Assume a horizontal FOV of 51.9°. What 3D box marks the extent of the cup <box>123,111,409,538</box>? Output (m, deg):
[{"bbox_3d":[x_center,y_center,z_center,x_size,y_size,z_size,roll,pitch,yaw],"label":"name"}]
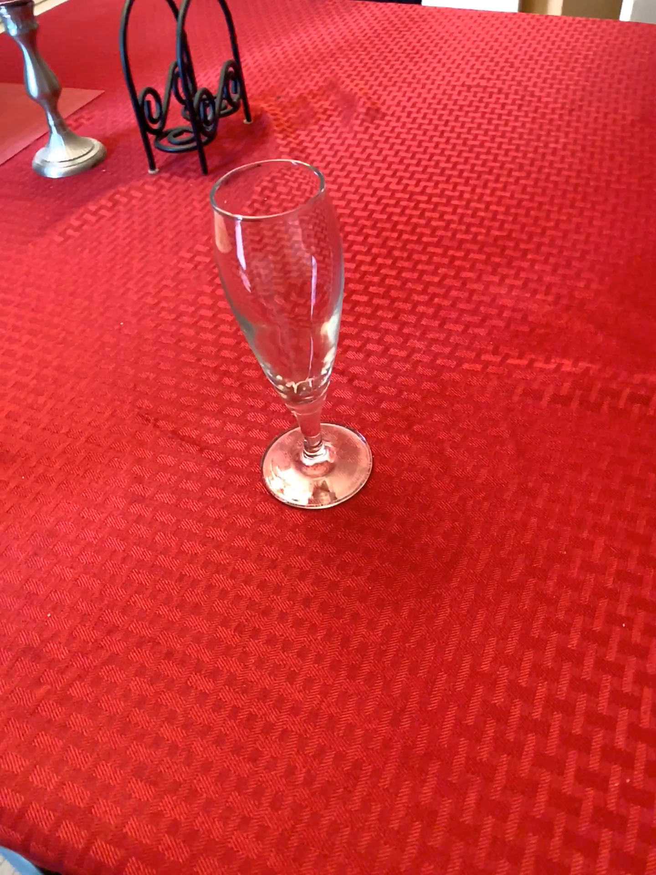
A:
[{"bbox_3d":[-0.016,-0.046,0.331,0.080,0.179,0.080,-4,48,4],"label":"cup"}]
